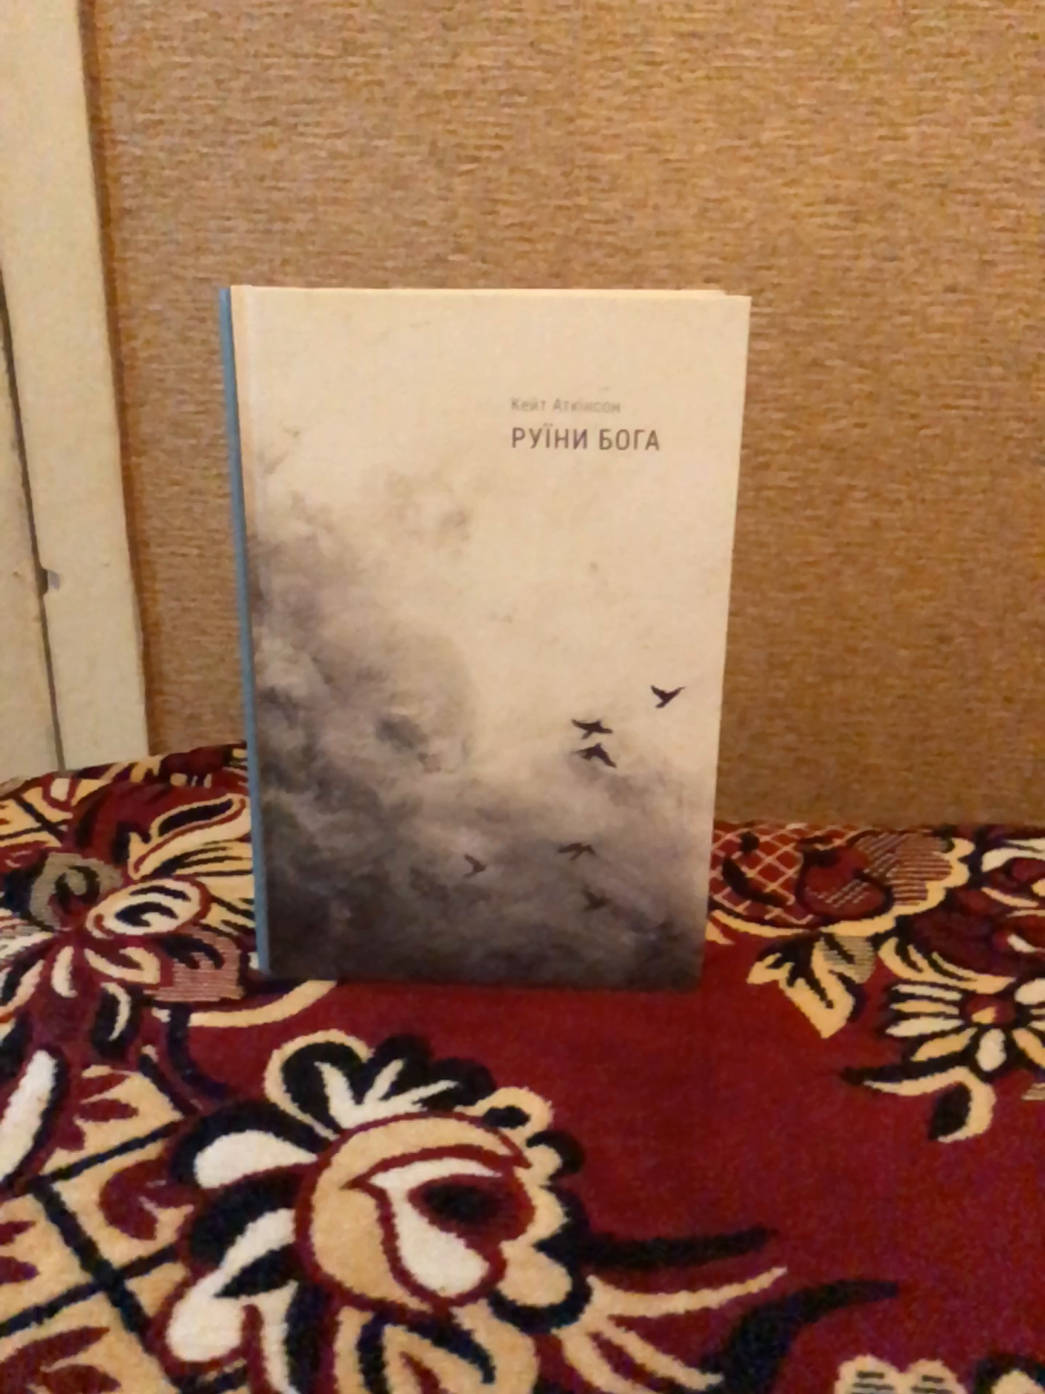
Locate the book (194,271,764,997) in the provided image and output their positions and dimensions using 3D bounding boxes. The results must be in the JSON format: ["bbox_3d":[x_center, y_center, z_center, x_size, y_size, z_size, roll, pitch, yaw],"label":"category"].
[{"bbox_3d":[-0.014,-0.016,0.352,0.150,0.210,0.040,2,17,2],"label":"book"}]
